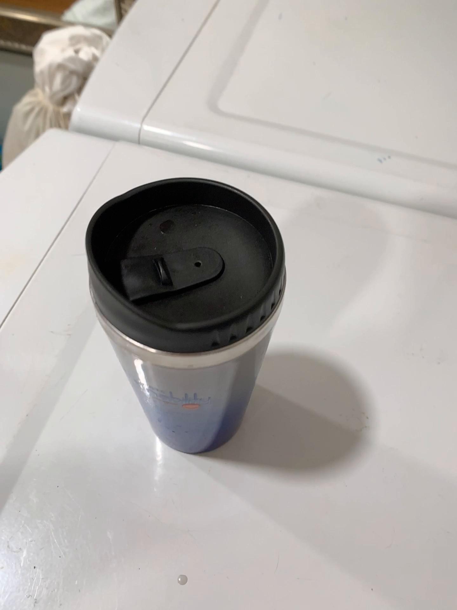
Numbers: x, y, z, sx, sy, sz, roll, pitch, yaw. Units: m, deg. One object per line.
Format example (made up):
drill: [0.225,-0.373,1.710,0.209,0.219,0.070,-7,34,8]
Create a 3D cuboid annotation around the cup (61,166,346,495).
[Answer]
cup: [-0.018,0.027,0.244,0.089,0.171,0.080,-9,58,-10]
